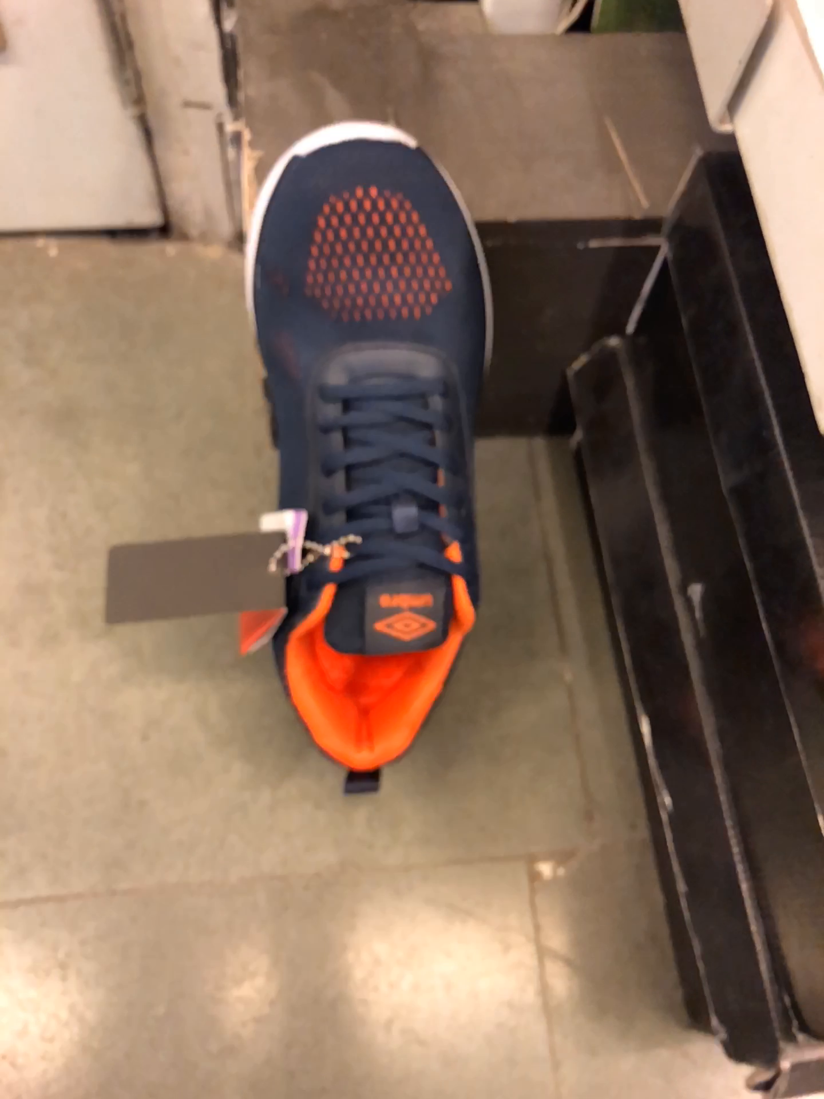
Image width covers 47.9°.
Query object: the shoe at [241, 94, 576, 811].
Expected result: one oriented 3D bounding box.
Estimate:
[{"bbox_3d":[-0.020,-0.034,0.388,0.092,0.259,0.134,-2,35,-11],"label":"shoe"}]
